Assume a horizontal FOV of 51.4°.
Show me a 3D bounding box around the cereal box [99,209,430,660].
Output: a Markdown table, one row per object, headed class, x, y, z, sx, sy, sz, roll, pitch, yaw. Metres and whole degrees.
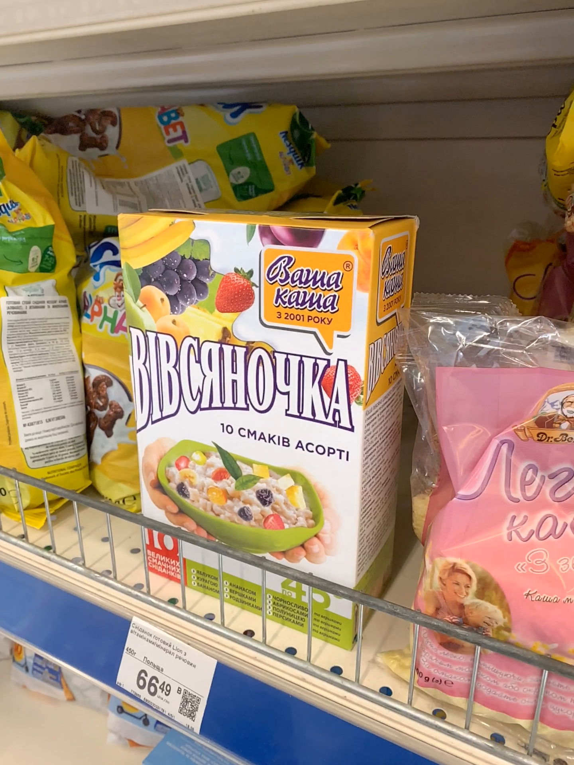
| class | x | y | z | sx | sy | sz | roll | pitch | yaw |
| --- | --- | --- | --- | --- | --- | --- | --- | --- | --- |
| cereal box | -0.014 | 0.017 | 0.329 | 0.150 | 0.209 | 0.070 | 11 | 21 | 28 |
